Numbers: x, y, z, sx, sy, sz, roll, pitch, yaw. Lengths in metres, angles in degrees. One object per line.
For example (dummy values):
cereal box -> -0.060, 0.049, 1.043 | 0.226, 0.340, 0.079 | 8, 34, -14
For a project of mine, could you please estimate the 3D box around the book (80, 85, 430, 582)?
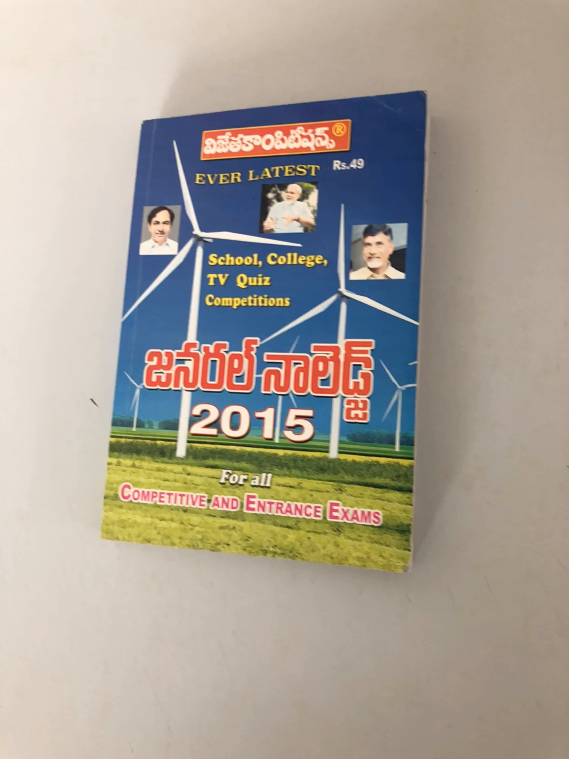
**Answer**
book -> -0.011, -0.021, 0.257 | 0.129, 0.022, 0.182 | 2, 83, 16
